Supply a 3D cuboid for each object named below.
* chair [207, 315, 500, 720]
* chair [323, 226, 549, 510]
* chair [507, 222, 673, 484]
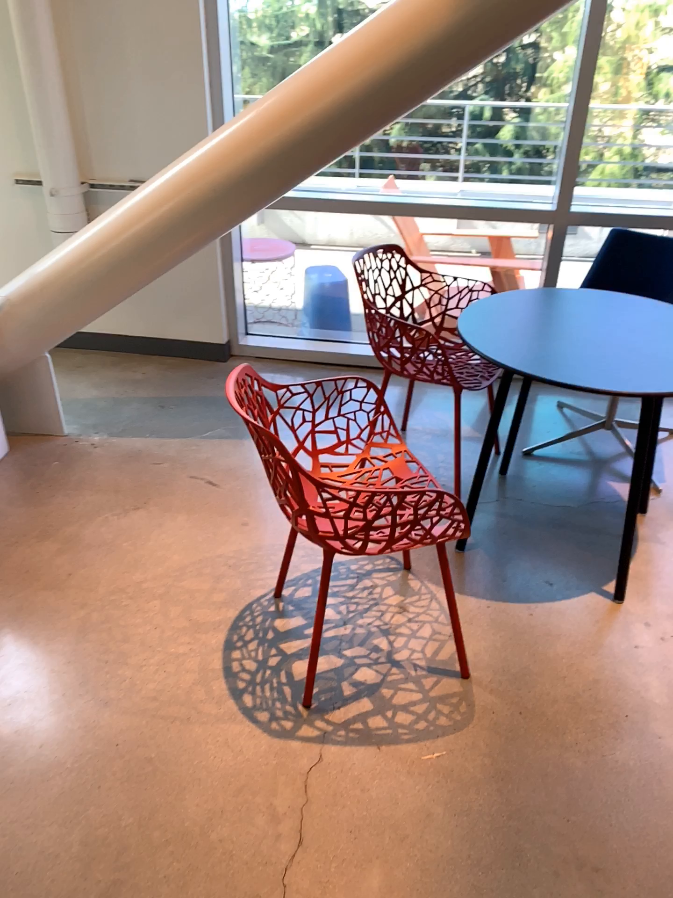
[{"bbox_3d":[-0.006,0.144,1.732,0.530,0.765,0.564,-6,31,-12],"label":"chair"},{"bbox_3d":[0.336,-0.322,2.489,0.532,0.765,0.562,23,37,32],"label":"chair"},{"bbox_3d":[1.088,-0.397,2.667,0.562,0.765,0.511,24,37,33],"label":"chair"}]
